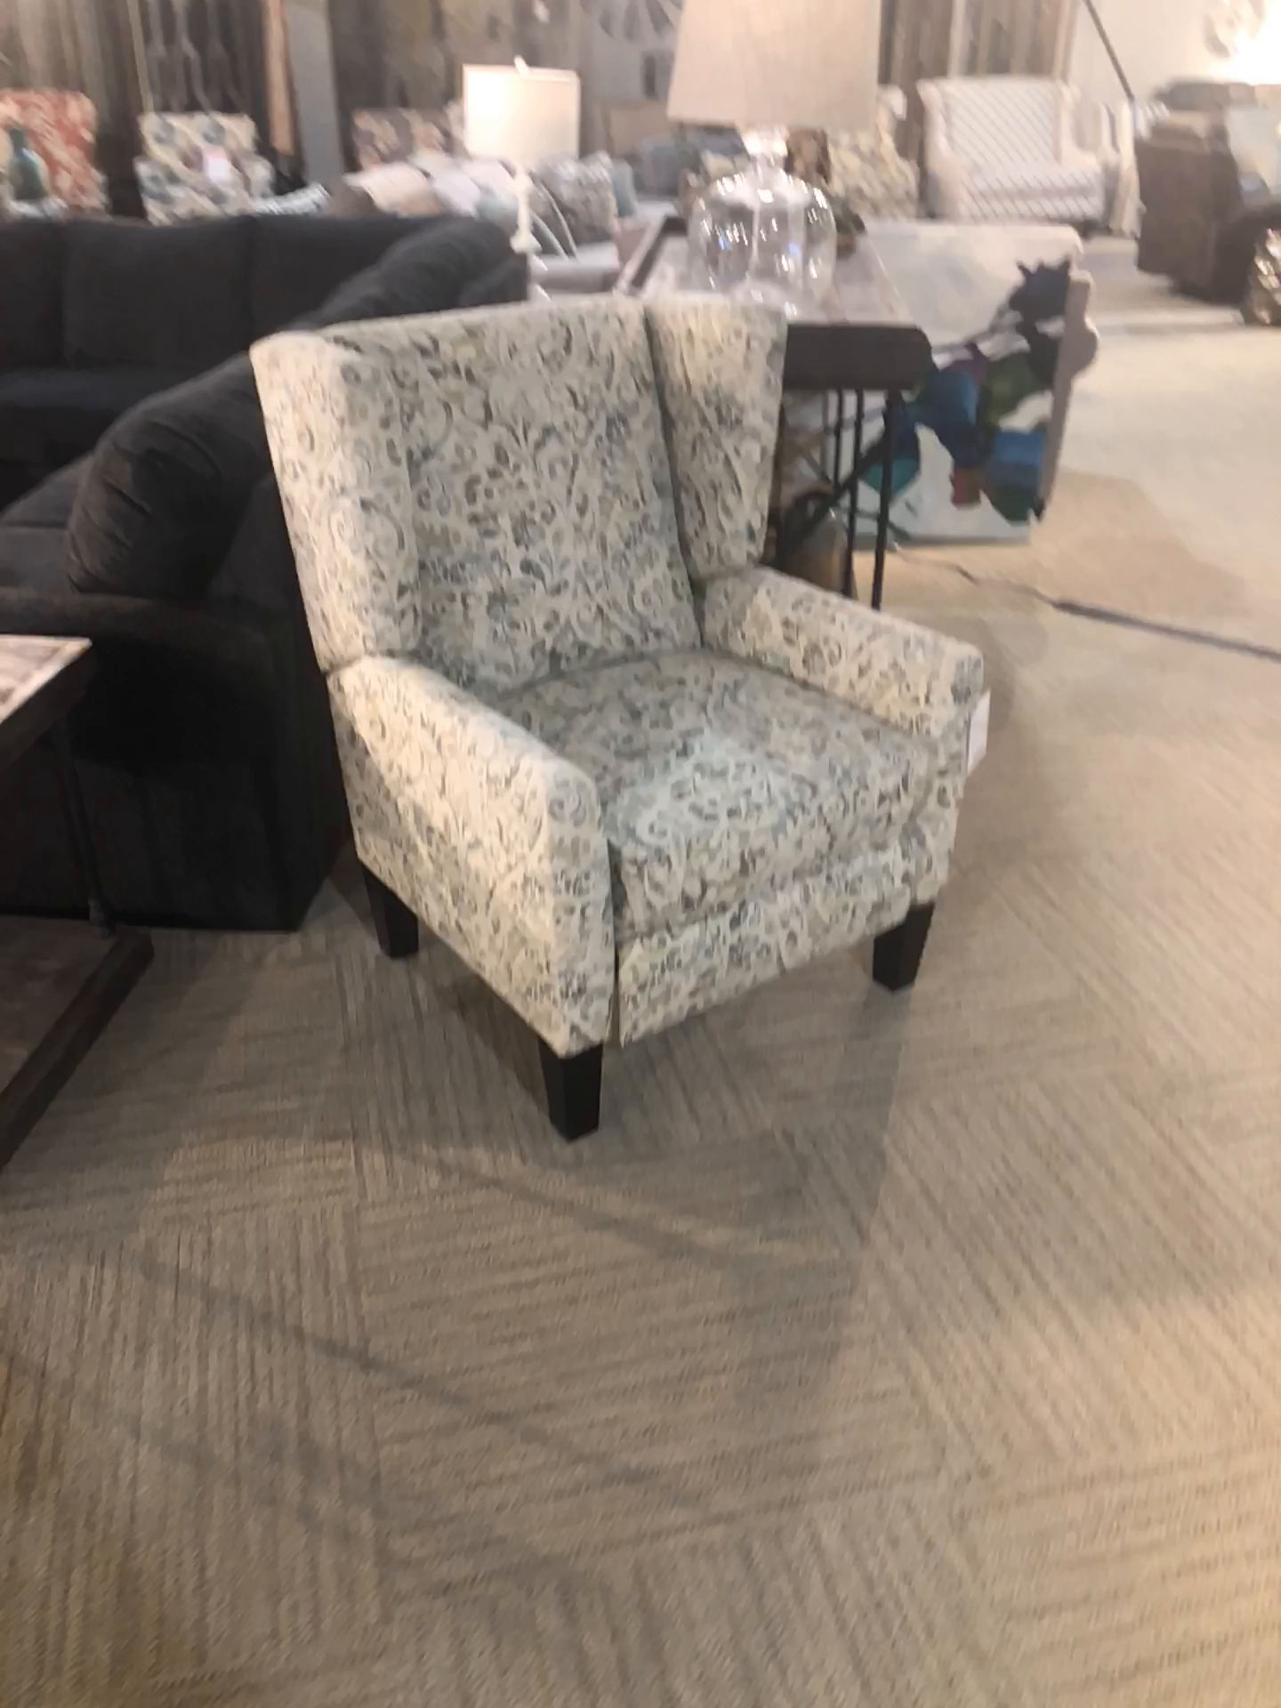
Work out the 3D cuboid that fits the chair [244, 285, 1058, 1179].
[{"bbox_3d":[-0.017,-0.262,2.120,0.782,0.975,0.803,-18,34,-29],"label":"chair"}]
